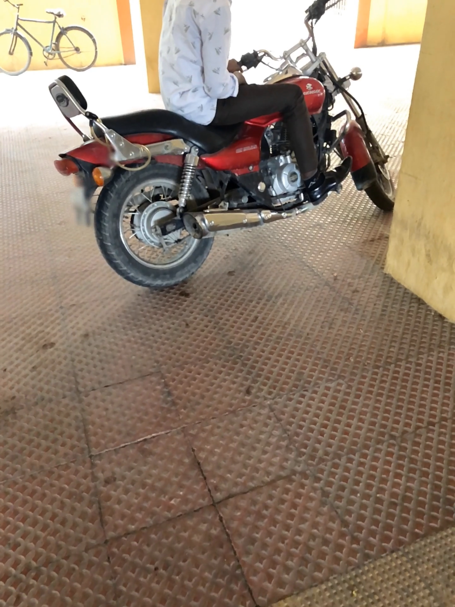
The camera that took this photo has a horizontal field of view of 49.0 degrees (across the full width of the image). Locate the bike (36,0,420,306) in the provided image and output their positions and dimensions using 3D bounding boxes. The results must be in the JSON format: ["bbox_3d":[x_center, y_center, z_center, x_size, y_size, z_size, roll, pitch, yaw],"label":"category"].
[{"bbox_3d":[0.080,-1.030,2.351,0.757,1.049,1.655,27,49,37],"label":"bike"}]
